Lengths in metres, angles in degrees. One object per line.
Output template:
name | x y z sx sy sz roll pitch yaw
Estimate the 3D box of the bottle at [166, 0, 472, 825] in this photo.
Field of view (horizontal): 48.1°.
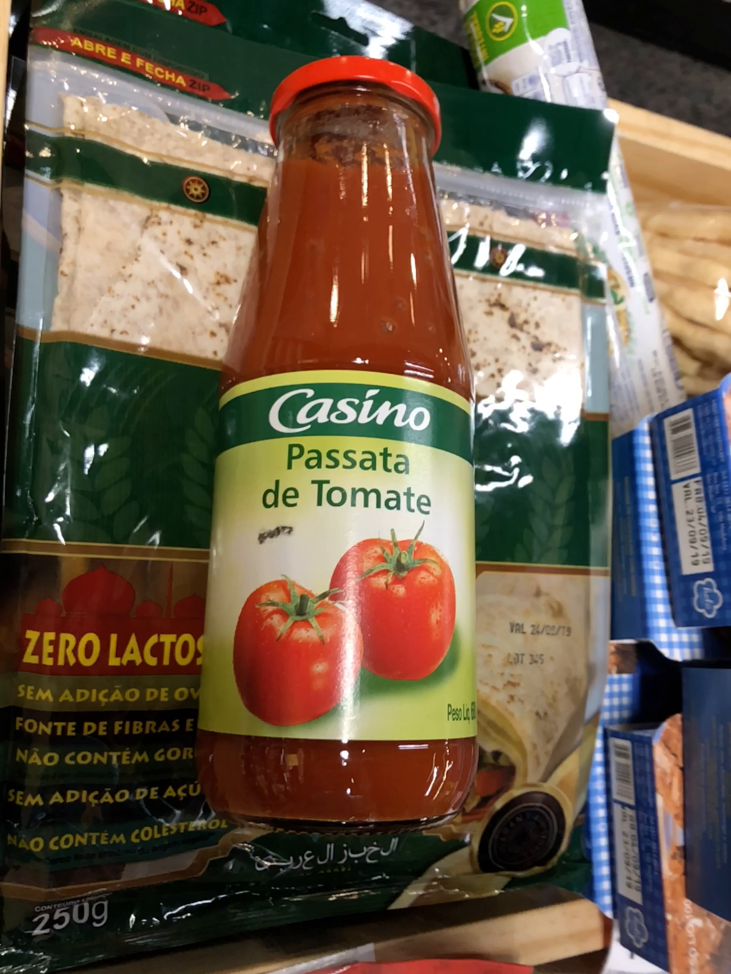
bottle | -0.010 -0.030 0.245 0.070 0.080 0.230 -1 81 2
